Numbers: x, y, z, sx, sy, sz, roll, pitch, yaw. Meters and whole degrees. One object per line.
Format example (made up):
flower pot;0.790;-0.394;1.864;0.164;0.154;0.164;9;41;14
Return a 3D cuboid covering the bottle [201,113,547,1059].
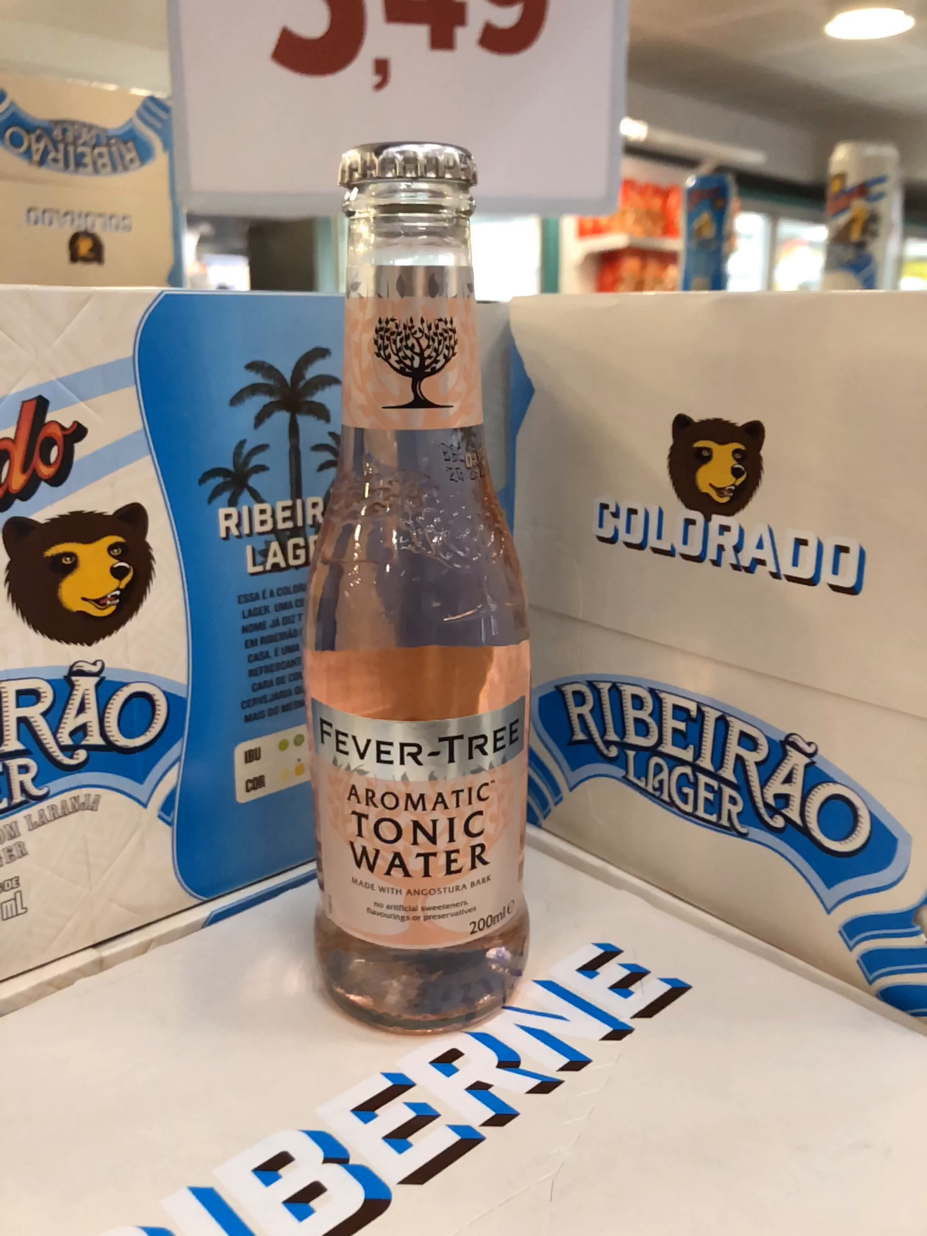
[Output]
bottle;-0.017;-0.002;0.227;0.060;0.189;0.050;0;14;-1
